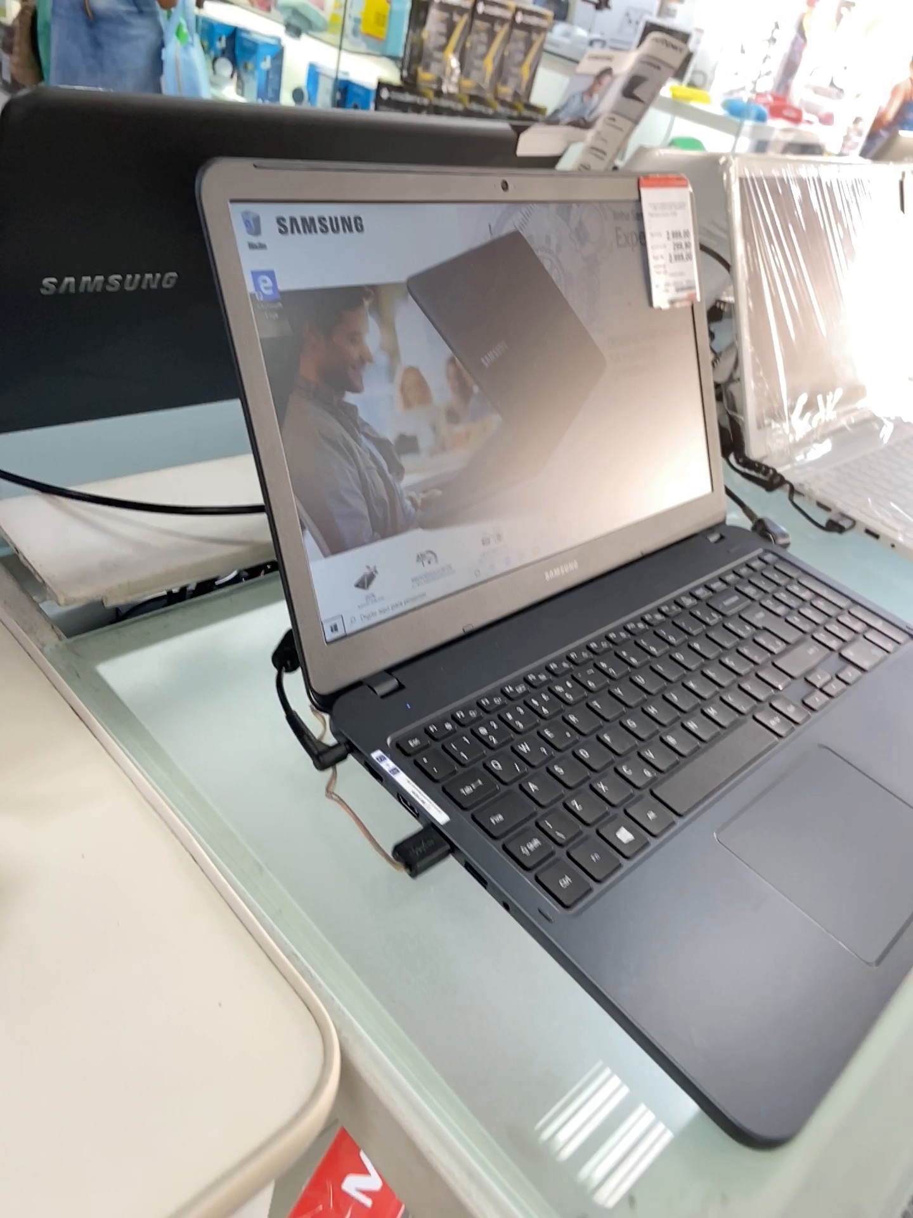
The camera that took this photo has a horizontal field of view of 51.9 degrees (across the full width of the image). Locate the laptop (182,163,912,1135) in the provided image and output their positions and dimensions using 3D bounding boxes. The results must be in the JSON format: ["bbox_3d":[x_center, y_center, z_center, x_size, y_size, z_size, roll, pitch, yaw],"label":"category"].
[{"bbox_3d":[0.128,-0.058,0.474,0.372,0.200,0.369,-22,49,-41],"label":"laptop"}]
